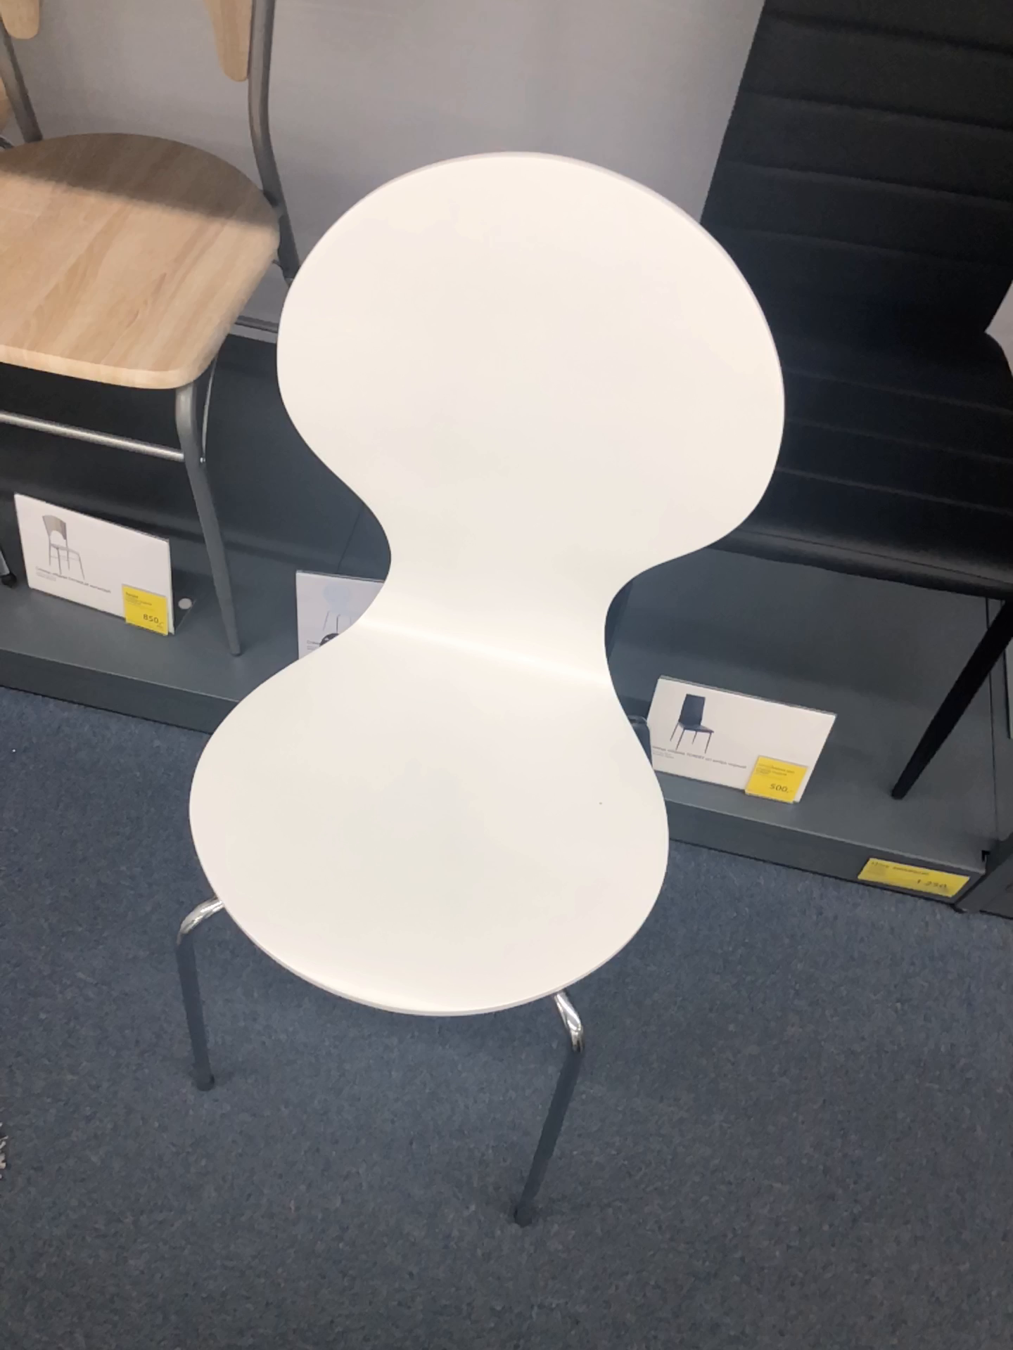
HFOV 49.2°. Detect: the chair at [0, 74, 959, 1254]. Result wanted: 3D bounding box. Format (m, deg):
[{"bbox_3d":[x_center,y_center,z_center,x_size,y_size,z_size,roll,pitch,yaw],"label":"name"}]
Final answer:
[{"bbox_3d":[-0.047,0.058,1.055,0.560,0.818,0.642,18,56,6],"label":"chair"}]
